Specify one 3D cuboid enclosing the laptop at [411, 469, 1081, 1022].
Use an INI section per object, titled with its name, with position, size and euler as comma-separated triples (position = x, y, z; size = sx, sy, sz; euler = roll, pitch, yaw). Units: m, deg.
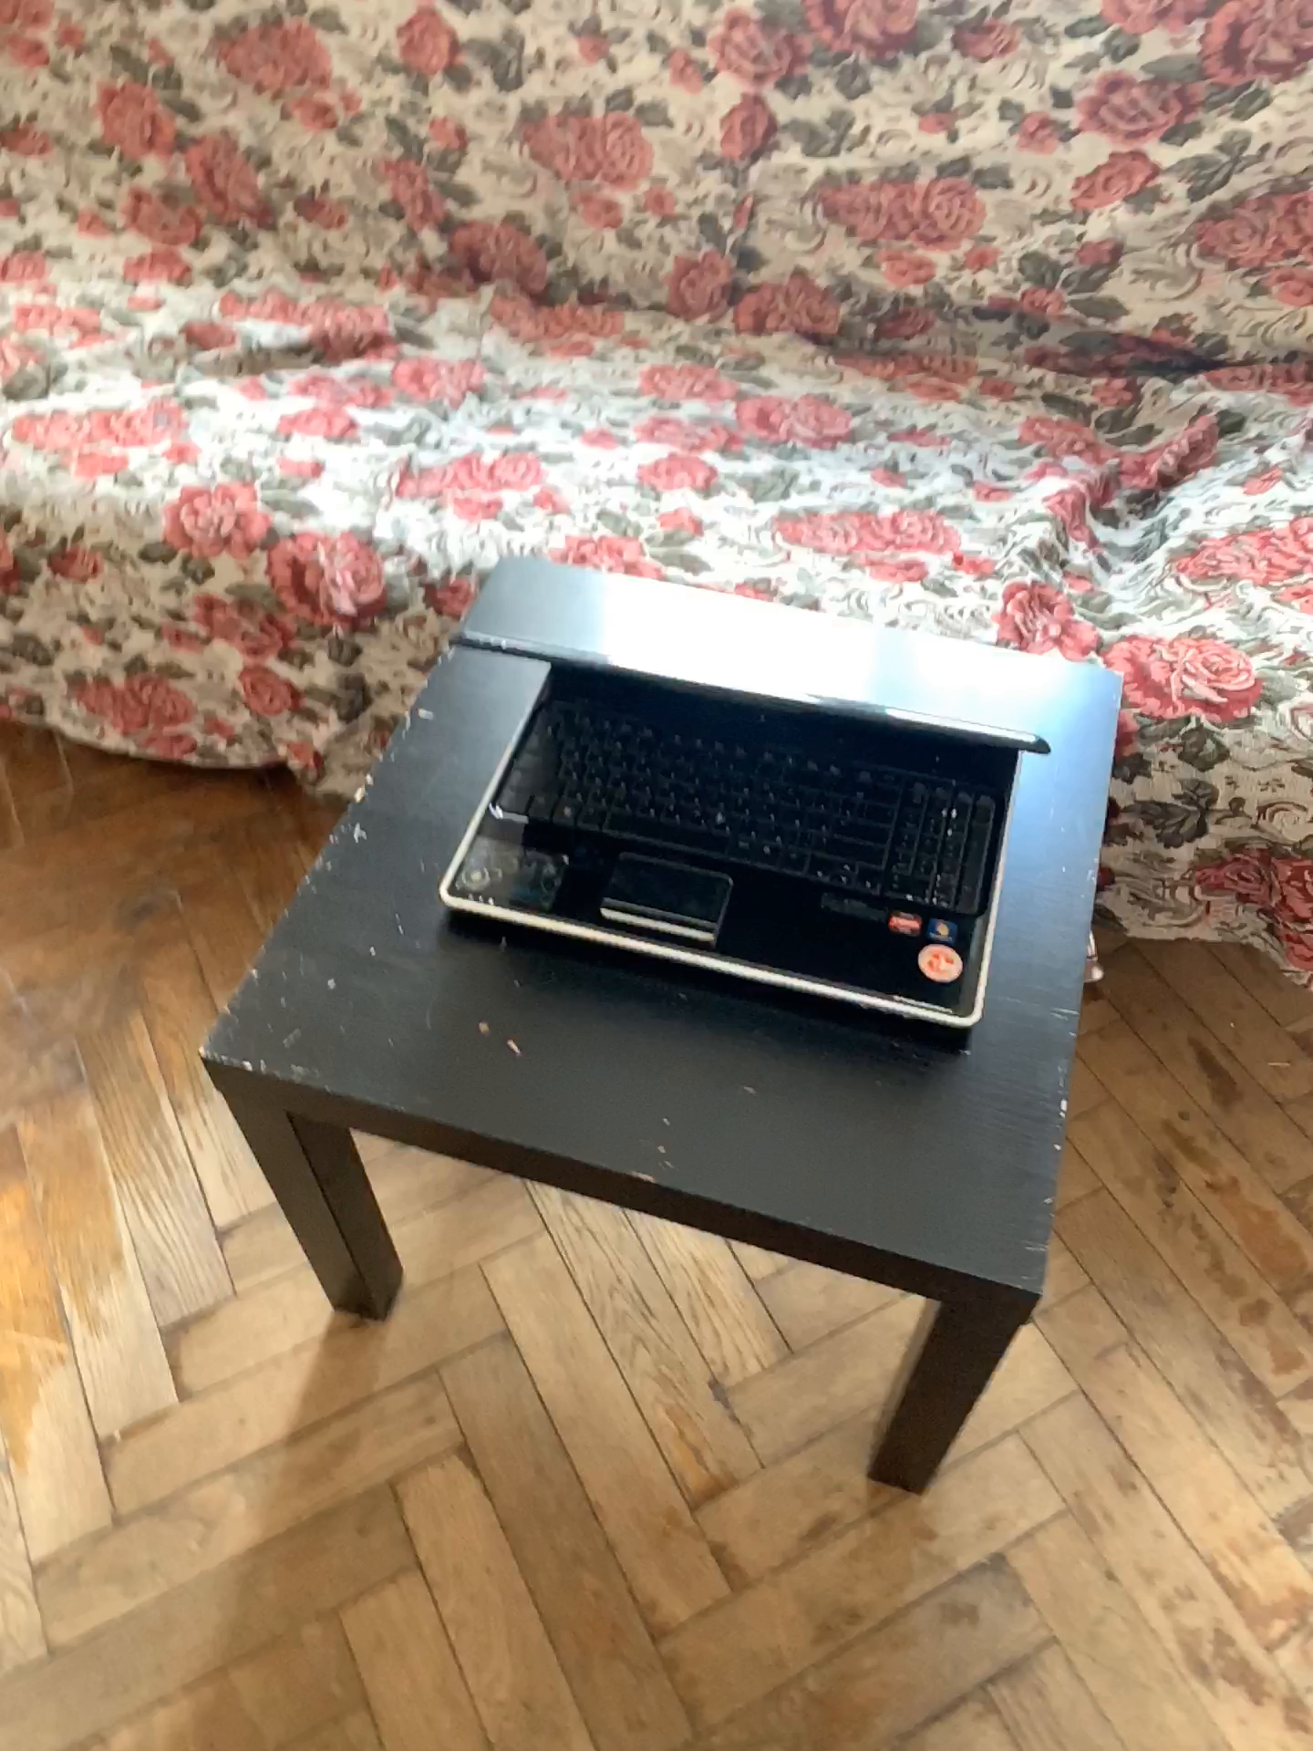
[laptop]
position = 0.065, -0.095, 0.901
size = 0.365, 0.177, 0.252
euler = 12, 53, 11
